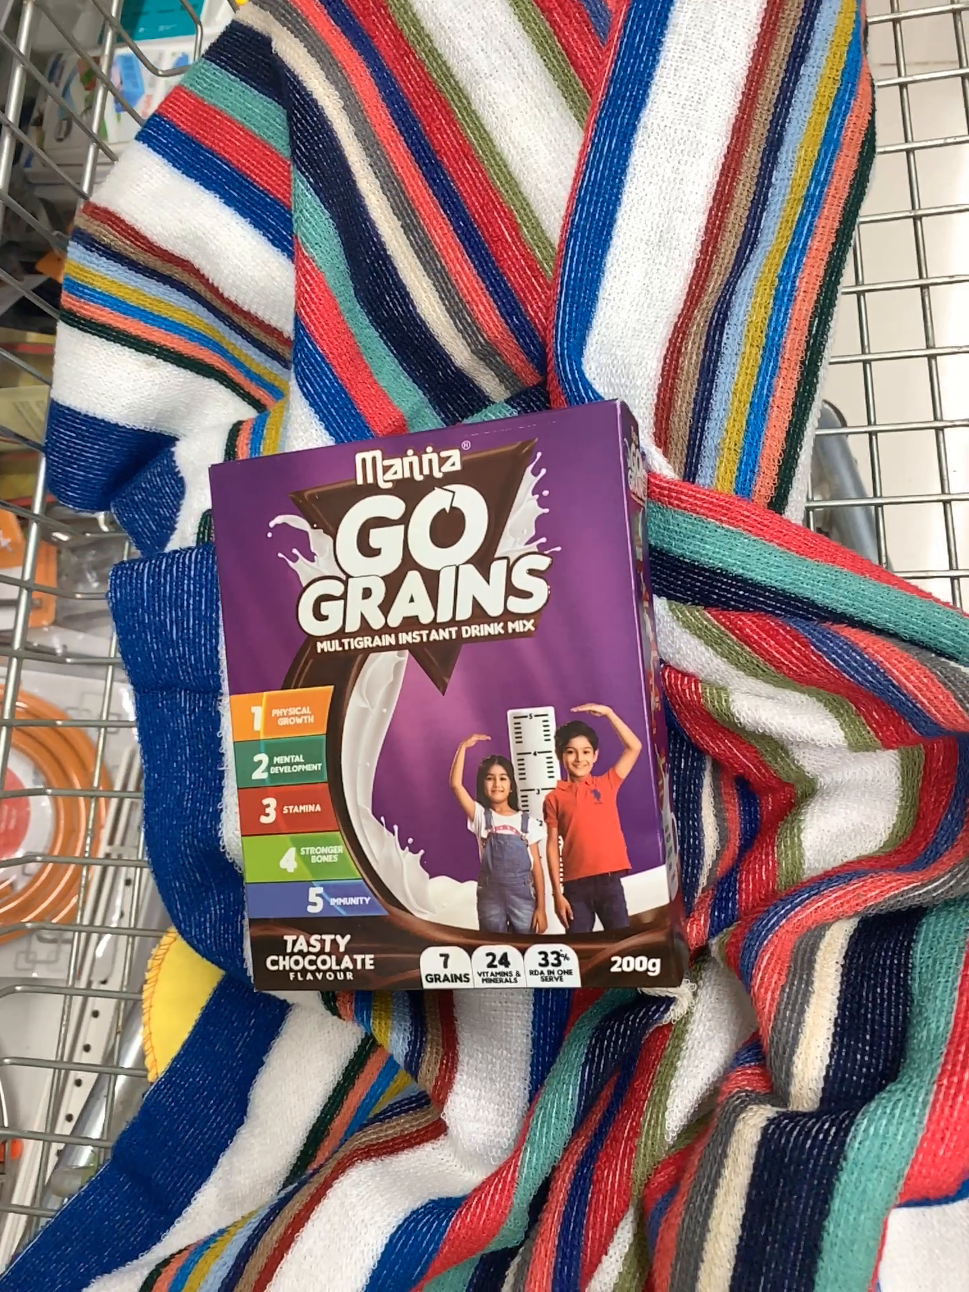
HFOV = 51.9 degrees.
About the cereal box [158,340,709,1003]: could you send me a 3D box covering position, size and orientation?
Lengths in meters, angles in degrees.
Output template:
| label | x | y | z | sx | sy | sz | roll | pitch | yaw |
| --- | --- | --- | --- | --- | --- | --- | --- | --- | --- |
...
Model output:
| label | x | y | z | sx | sy | sz | roll | pitch | yaw |
| --- | --- | --- | --- | --- | --- | --- | --- | --- | --- |
| cereal box | -0.013 | 0.012 | 0.295 | 0.140 | 0.050 | 0.170 | -5 | 91 | 14 |
